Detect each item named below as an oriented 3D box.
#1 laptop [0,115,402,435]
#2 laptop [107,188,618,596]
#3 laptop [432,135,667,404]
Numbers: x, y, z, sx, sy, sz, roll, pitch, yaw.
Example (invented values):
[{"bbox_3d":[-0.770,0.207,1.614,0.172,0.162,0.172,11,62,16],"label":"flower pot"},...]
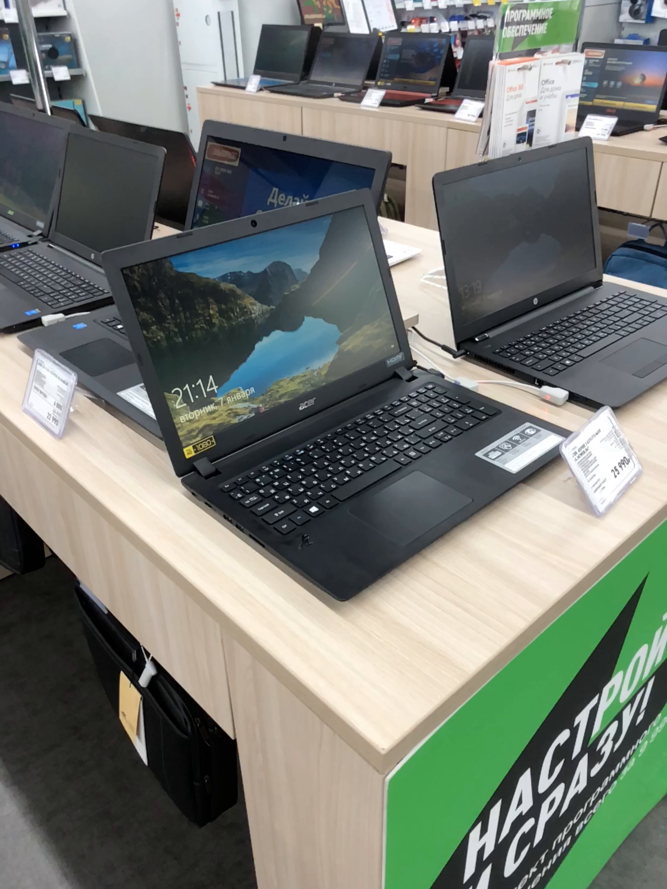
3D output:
[{"bbox_3d":[-0.193,-0.277,1.037,0.396,0.250,0.402,-29,42,-34],"label":"laptop"},{"bbox_3d":[0.030,-0.101,0.788,0.375,0.219,0.348,-27,40,-35],"label":"laptop"},{"bbox_3d":[0.387,-0.272,1.041,0.359,0.220,0.295,-27,42,-34],"label":"laptop"}]
